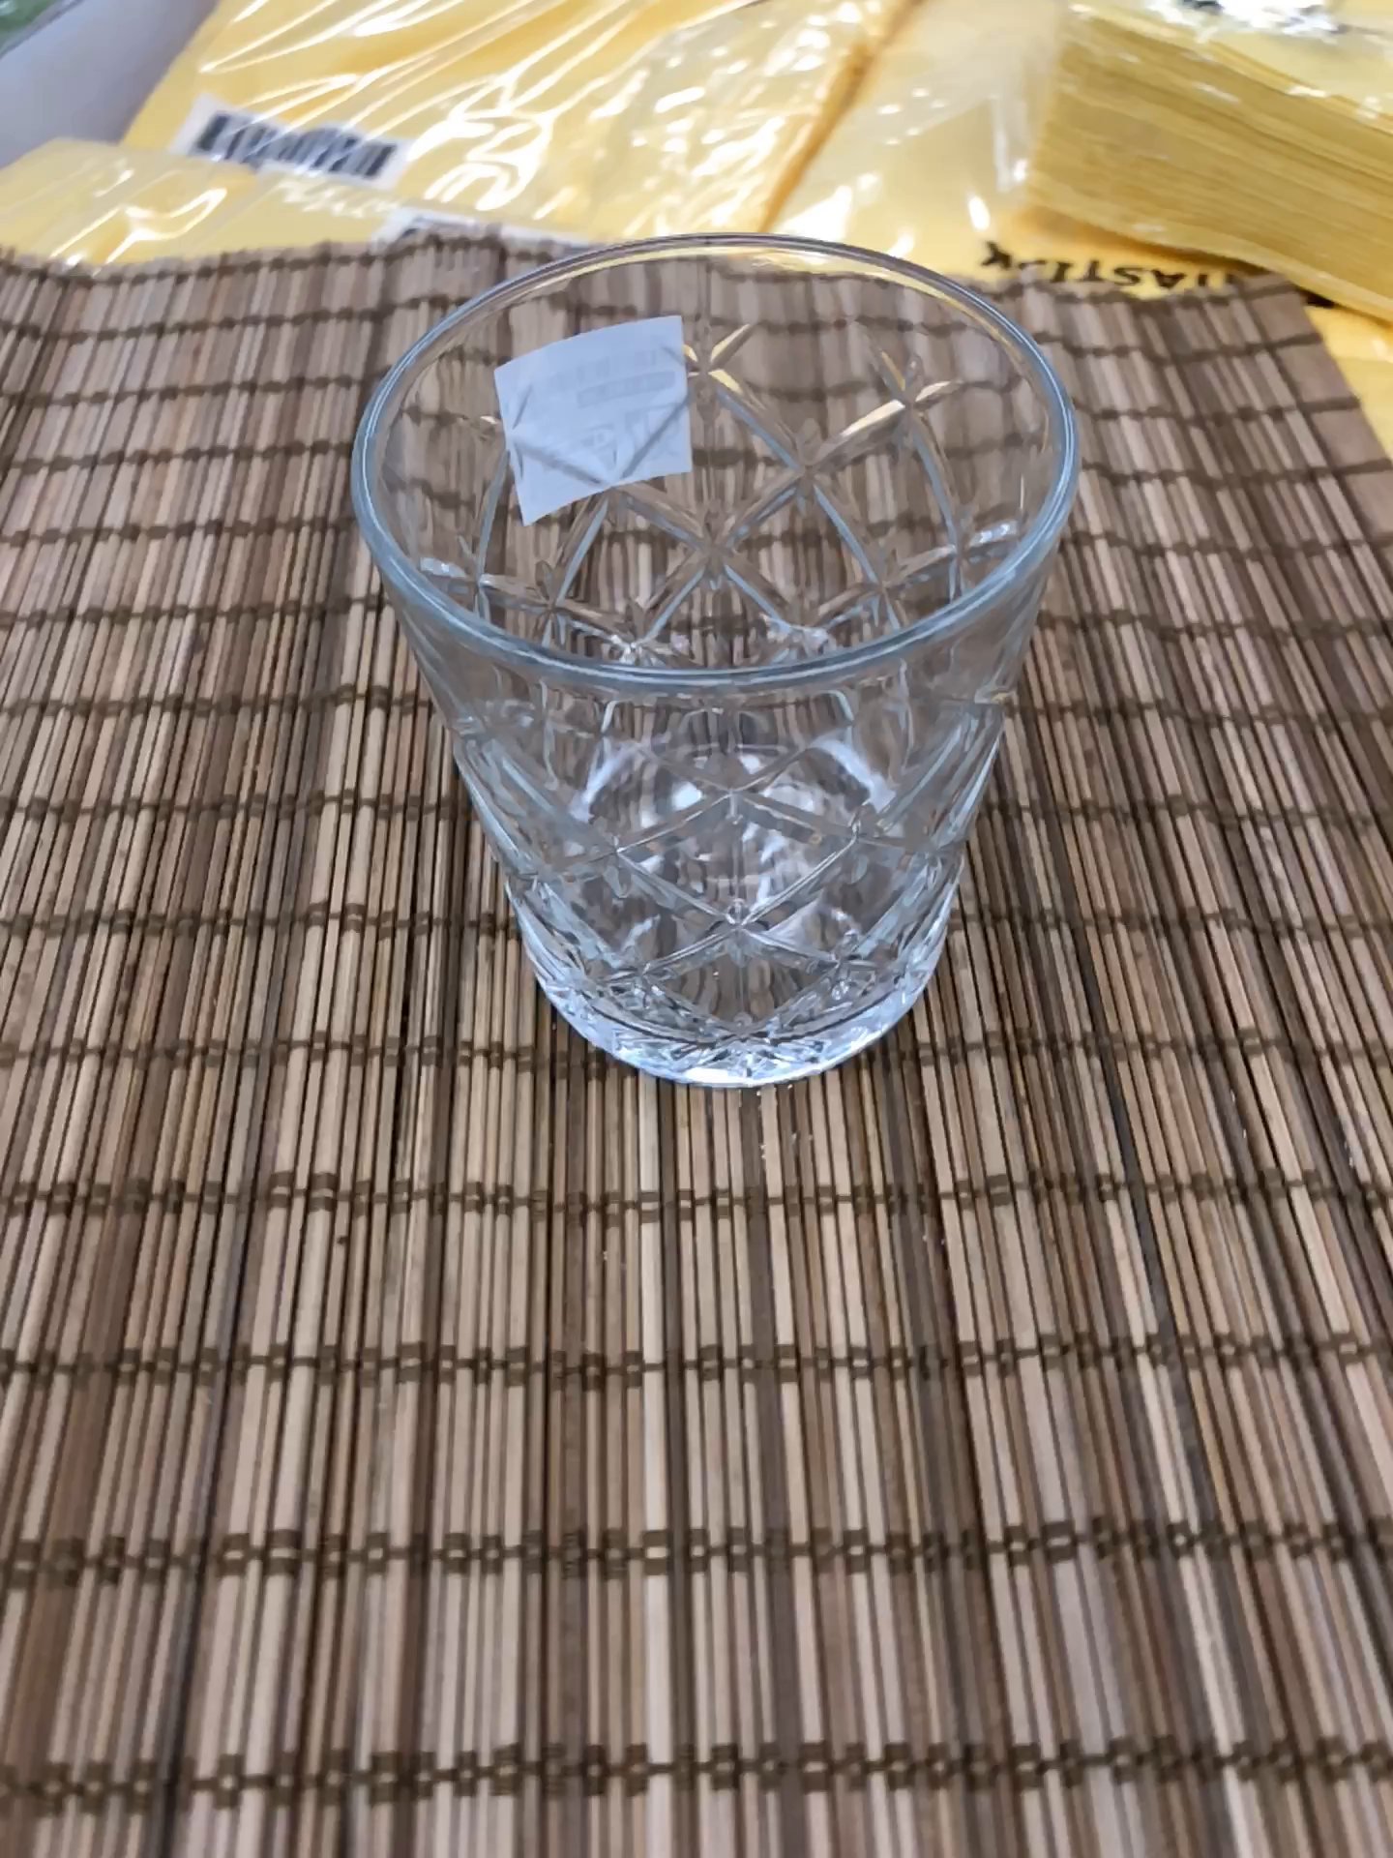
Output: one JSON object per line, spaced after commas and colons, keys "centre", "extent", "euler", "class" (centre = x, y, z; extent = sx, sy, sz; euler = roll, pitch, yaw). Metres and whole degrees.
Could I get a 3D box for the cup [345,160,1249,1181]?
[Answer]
{"centre": [0.005, -0.032, 0.200], "extent": [0.080, 0.090, 0.080], "euler": [0, 50, 0], "class": "cup"}
